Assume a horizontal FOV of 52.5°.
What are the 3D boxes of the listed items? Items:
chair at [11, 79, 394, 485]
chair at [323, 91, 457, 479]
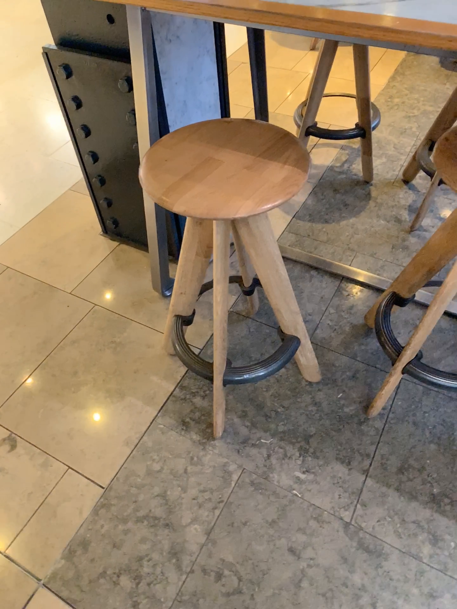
[{"bbox_3d":[-0.005,-0.048,1.164,0.534,0.706,0.556,21,54,21],"label":"chair"},{"bbox_3d":[0.551,-0.017,1.086,0.464,0.706,0.425,21,54,21],"label":"chair"}]
